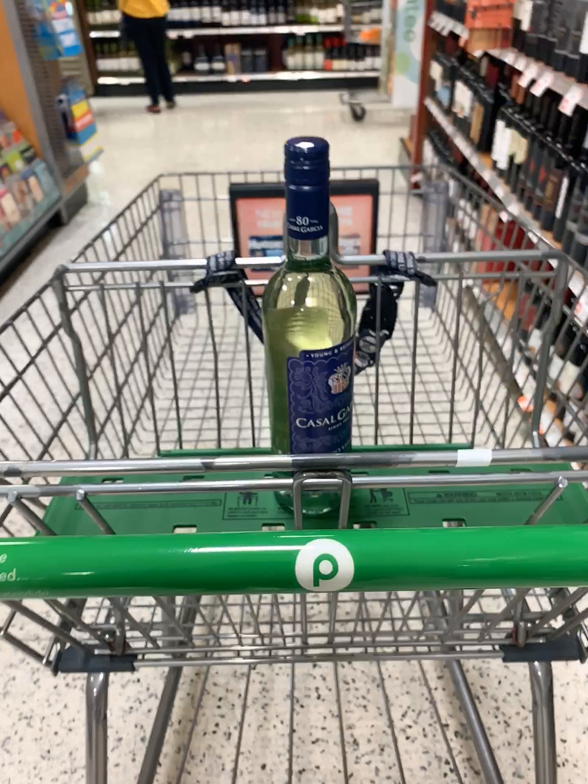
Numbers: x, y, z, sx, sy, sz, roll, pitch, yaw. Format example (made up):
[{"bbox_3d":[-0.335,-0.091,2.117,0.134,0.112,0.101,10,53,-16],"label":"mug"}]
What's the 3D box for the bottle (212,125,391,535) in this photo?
[{"bbox_3d":[0.009,-0.035,0.472,0.080,0.297,0.080,-1,35,1],"label":"bottle"}]
